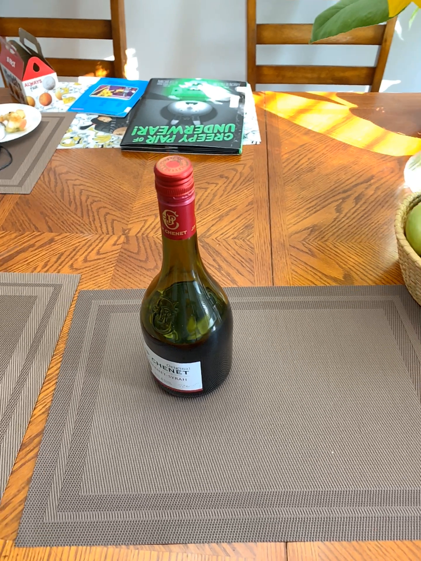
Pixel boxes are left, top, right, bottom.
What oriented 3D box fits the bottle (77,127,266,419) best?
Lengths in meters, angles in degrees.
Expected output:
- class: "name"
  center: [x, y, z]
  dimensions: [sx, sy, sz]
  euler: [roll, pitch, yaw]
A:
- class: "bottle"
  center: [-0.028, 0.008, 0.416]
  dimensions: [0.100, 0.258, 0.100]
  euler: [0, 47, 0]
